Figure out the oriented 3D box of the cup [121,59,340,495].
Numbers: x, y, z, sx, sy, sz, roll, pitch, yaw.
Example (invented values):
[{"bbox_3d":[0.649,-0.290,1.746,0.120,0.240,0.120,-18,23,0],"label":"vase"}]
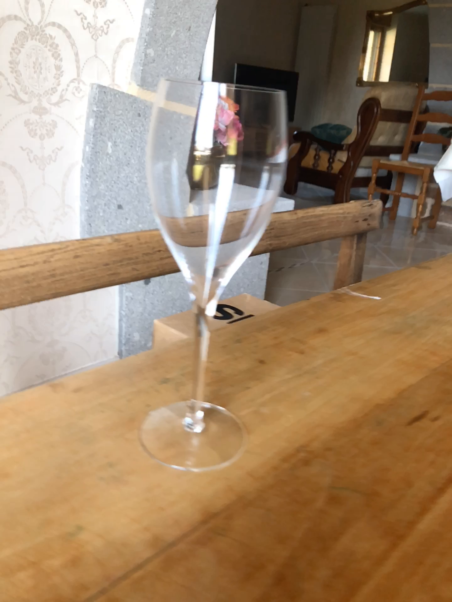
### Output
[{"bbox_3d":[-0.001,-0.014,0.278,0.080,0.209,0.080,4,21,-2],"label":"cup"}]
